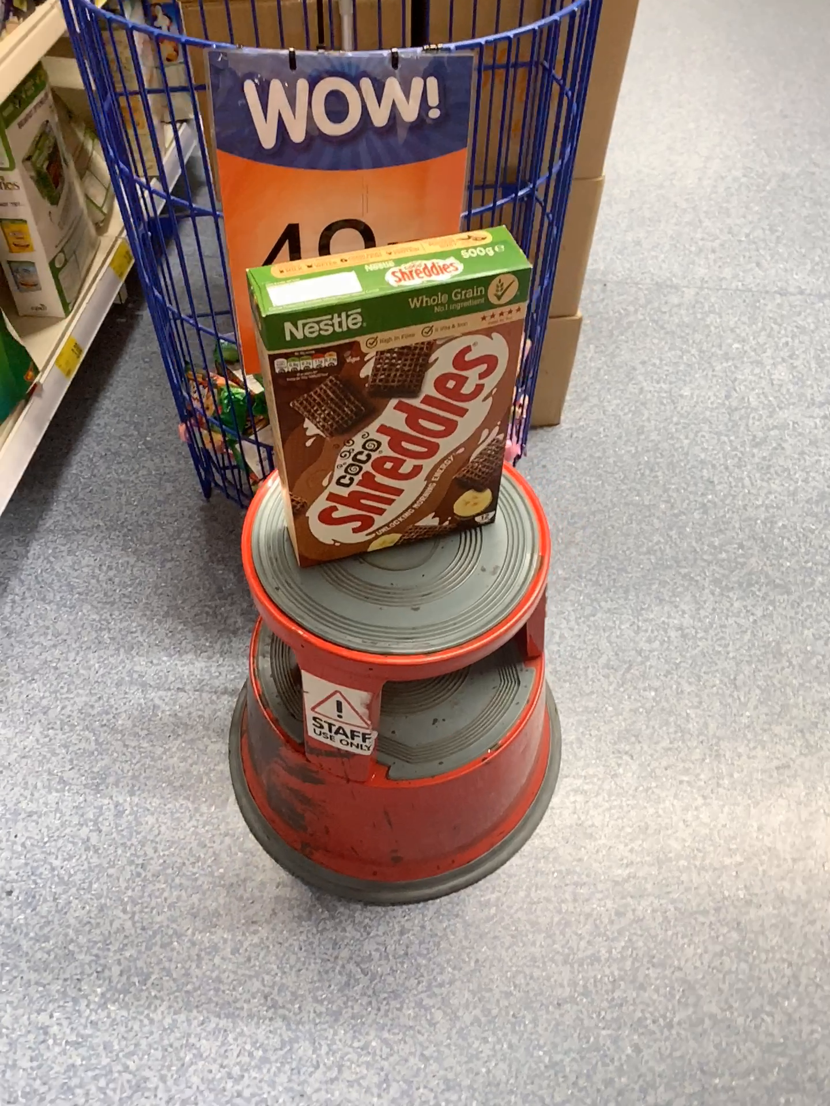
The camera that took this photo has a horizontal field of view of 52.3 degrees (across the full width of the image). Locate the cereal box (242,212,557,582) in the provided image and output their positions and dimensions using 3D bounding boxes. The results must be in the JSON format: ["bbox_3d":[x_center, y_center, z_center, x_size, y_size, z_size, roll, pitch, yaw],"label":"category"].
[{"bbox_3d":[-0.013,-0.110,0.676,0.200,0.278,0.071,-14,53,-12],"label":"cereal box"}]
